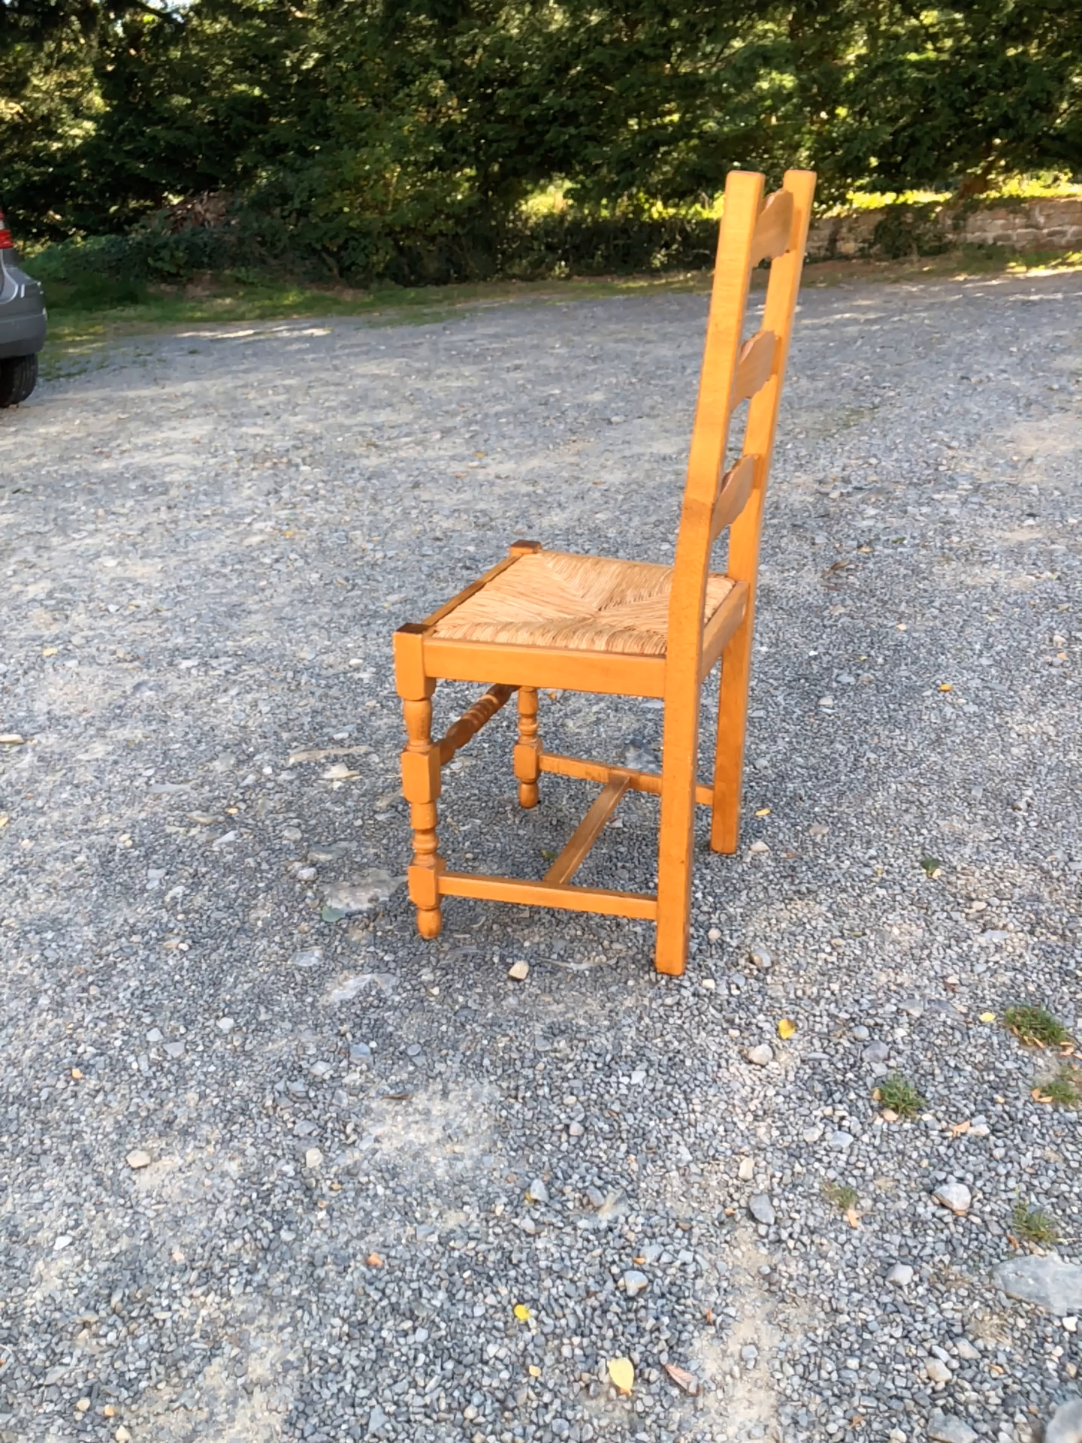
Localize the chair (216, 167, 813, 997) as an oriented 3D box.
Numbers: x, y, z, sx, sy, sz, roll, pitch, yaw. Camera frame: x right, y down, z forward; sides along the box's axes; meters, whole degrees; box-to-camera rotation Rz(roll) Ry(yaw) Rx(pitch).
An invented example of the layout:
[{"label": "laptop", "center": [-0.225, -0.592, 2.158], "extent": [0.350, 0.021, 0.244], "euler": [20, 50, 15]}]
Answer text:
[{"label": "chair", "center": [0.018, -0.217, 1.520], "extent": [0.520, 0.885, 0.533], "euler": [7, 26, 19]}]
